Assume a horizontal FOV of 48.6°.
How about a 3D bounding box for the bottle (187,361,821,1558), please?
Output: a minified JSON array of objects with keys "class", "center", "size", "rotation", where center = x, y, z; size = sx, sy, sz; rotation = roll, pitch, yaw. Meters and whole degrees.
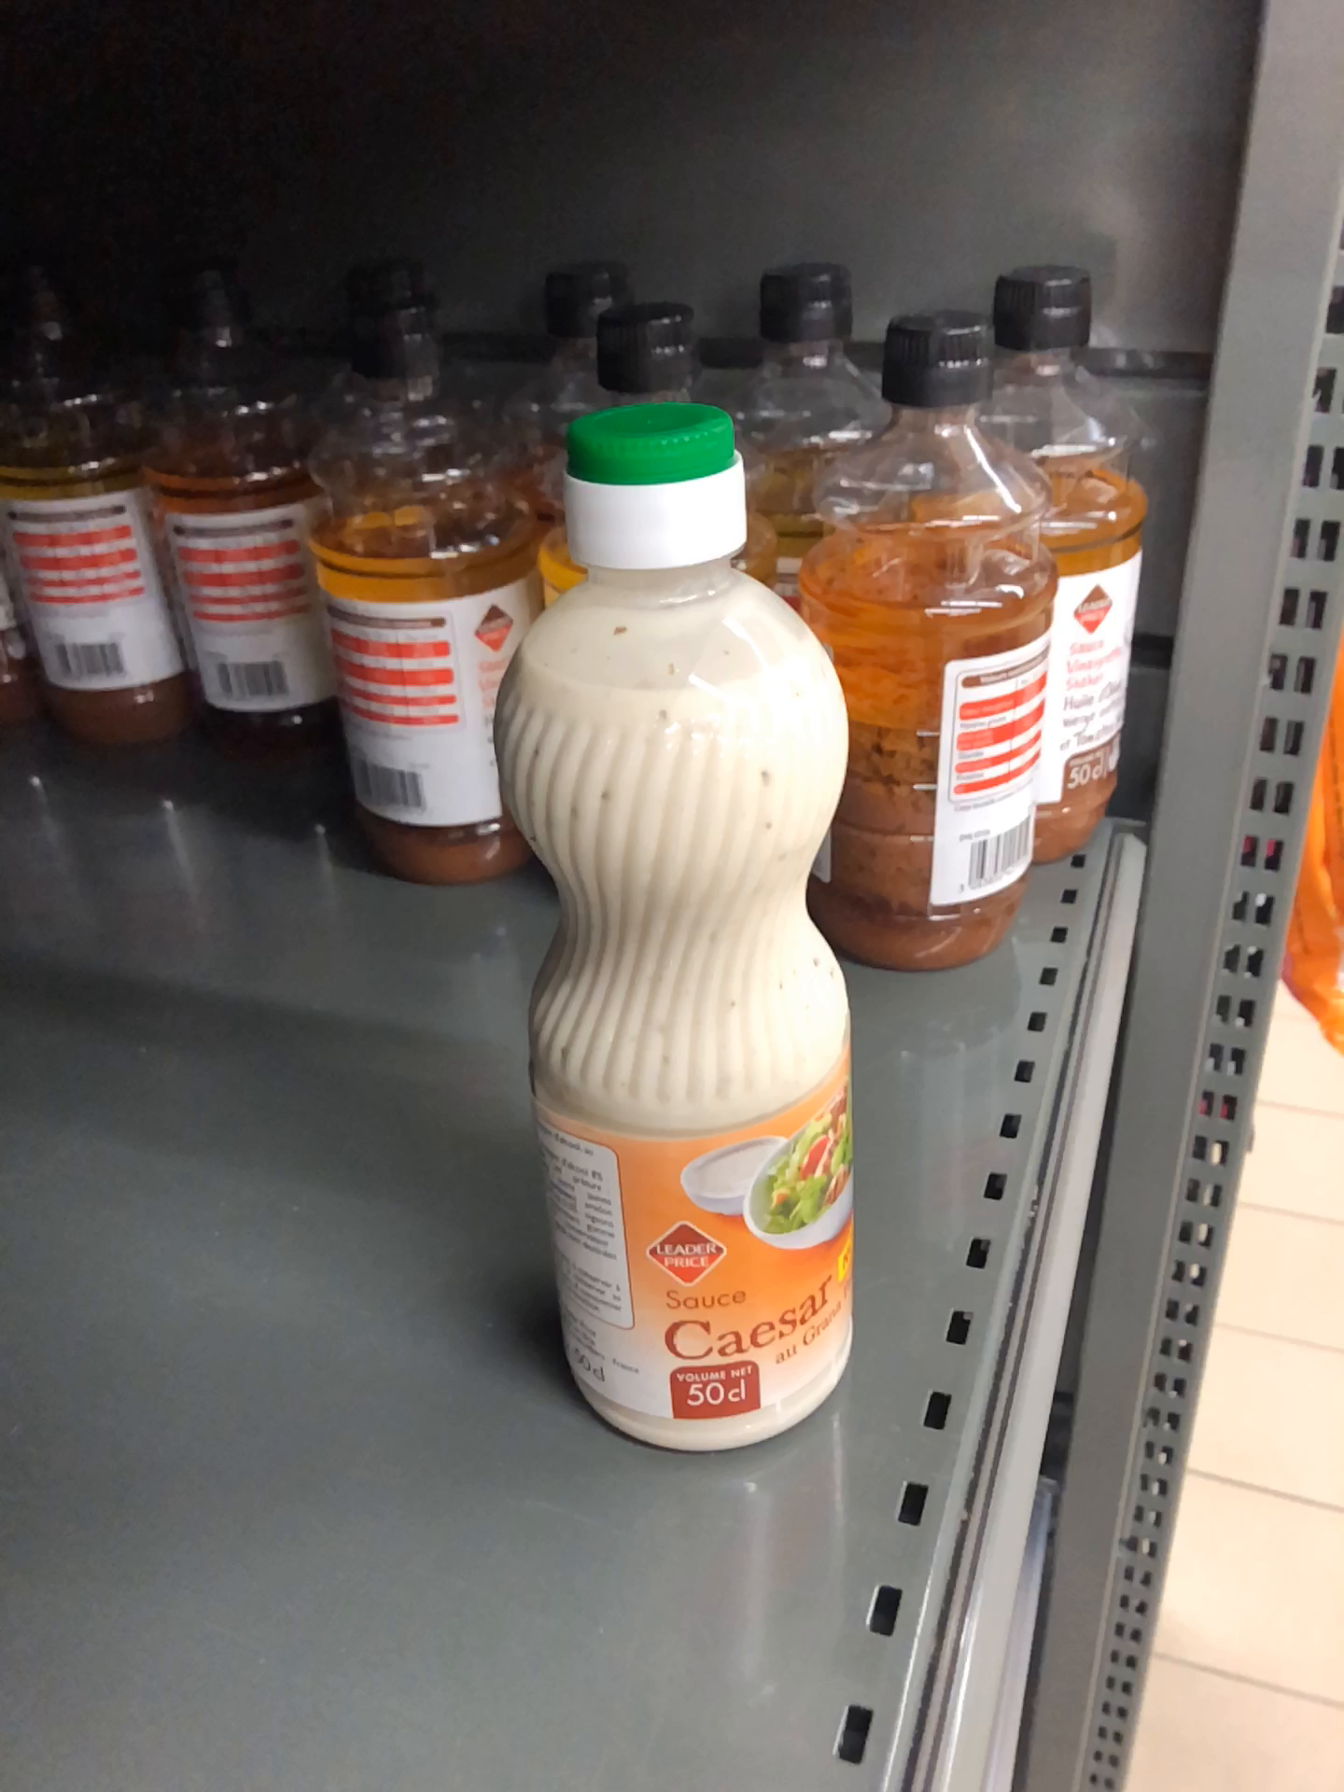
[{"class":"bottle","center":[-0.020,0.018,0.308],"size":[0.080,0.229,0.081],"rotation":[-2,30,1]}]
